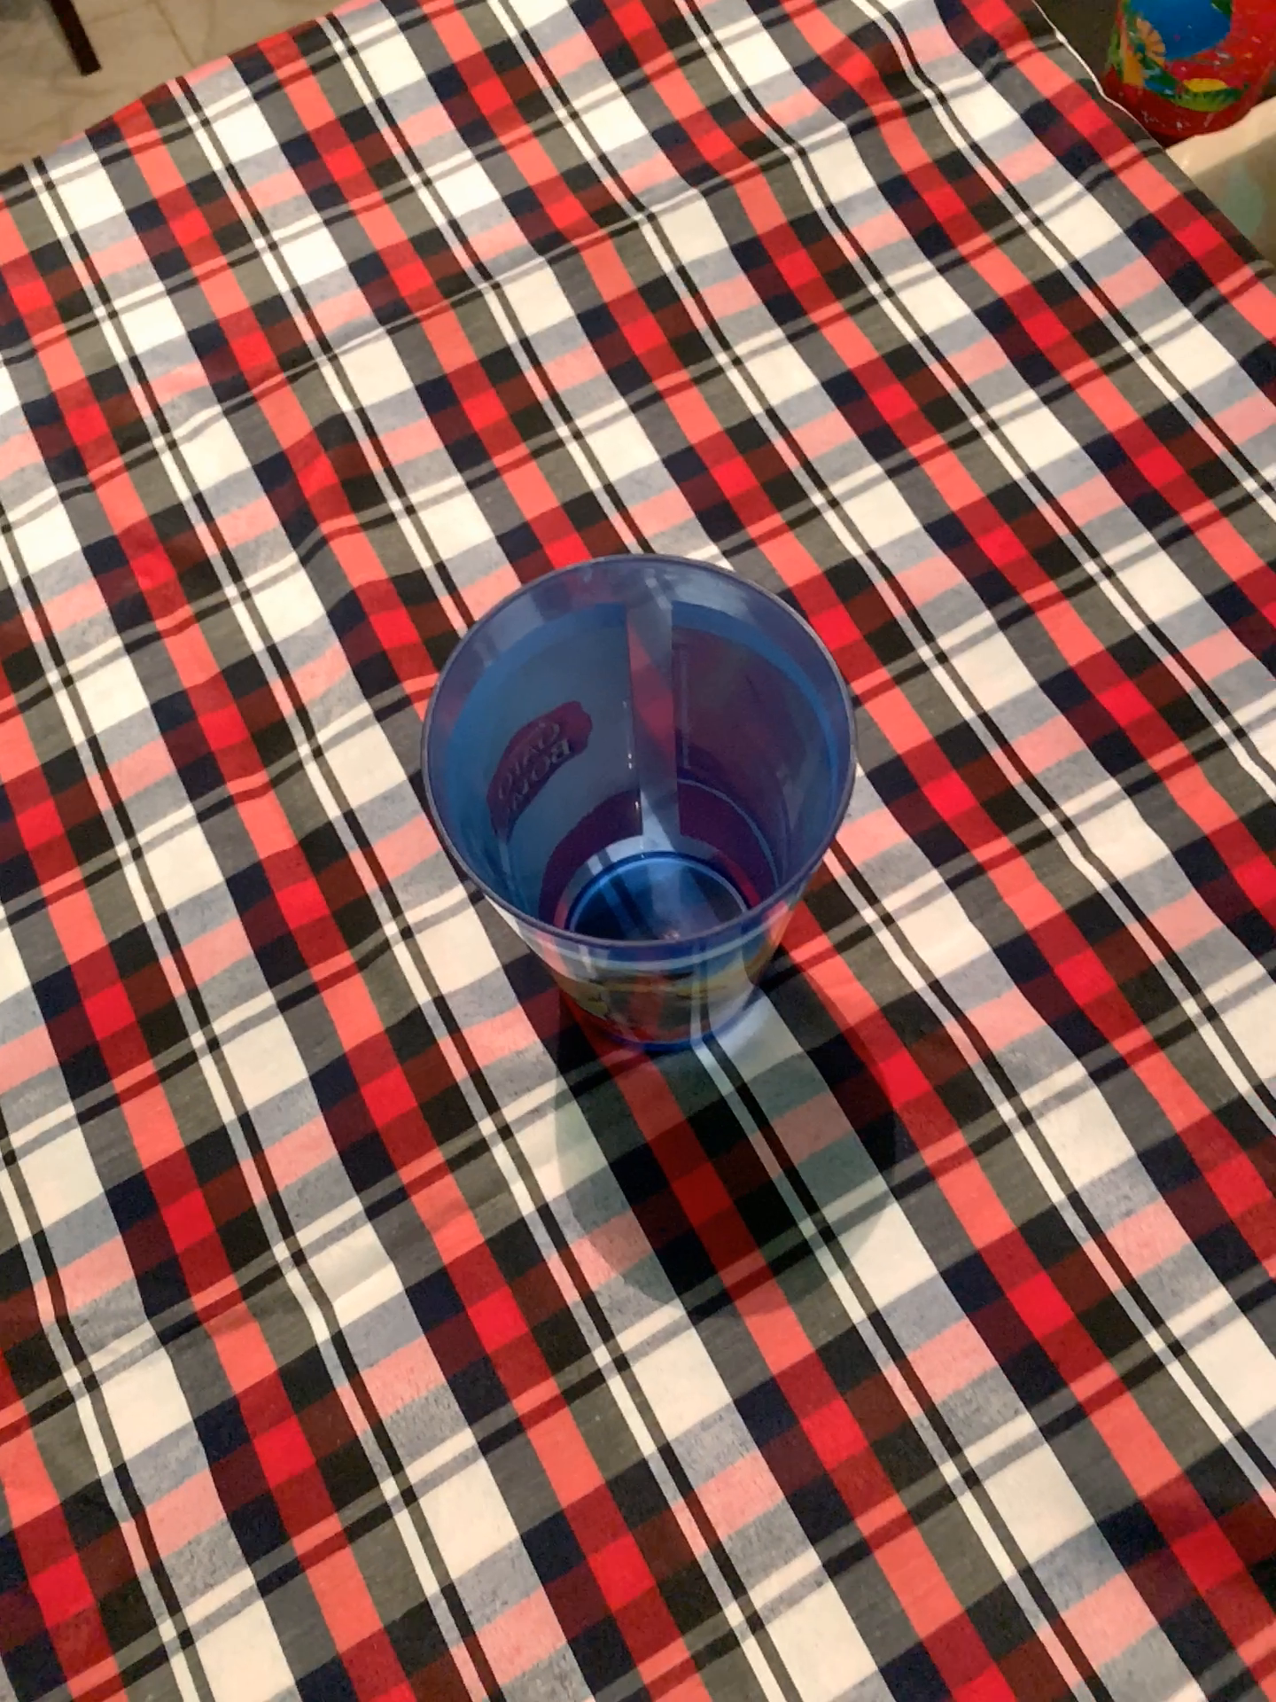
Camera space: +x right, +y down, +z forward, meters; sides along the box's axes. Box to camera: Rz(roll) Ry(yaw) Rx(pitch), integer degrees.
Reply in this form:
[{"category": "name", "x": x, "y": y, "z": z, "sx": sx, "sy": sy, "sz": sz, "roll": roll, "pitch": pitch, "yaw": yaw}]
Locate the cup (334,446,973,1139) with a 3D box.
[{"category": "cup", "x": 0.005, "y": -0.005, "z": 0.322, "sx": 0.090, "sy": 0.130, "sz": 0.090, "roll": -1, "pitch": 68, "yaw": 2}]
